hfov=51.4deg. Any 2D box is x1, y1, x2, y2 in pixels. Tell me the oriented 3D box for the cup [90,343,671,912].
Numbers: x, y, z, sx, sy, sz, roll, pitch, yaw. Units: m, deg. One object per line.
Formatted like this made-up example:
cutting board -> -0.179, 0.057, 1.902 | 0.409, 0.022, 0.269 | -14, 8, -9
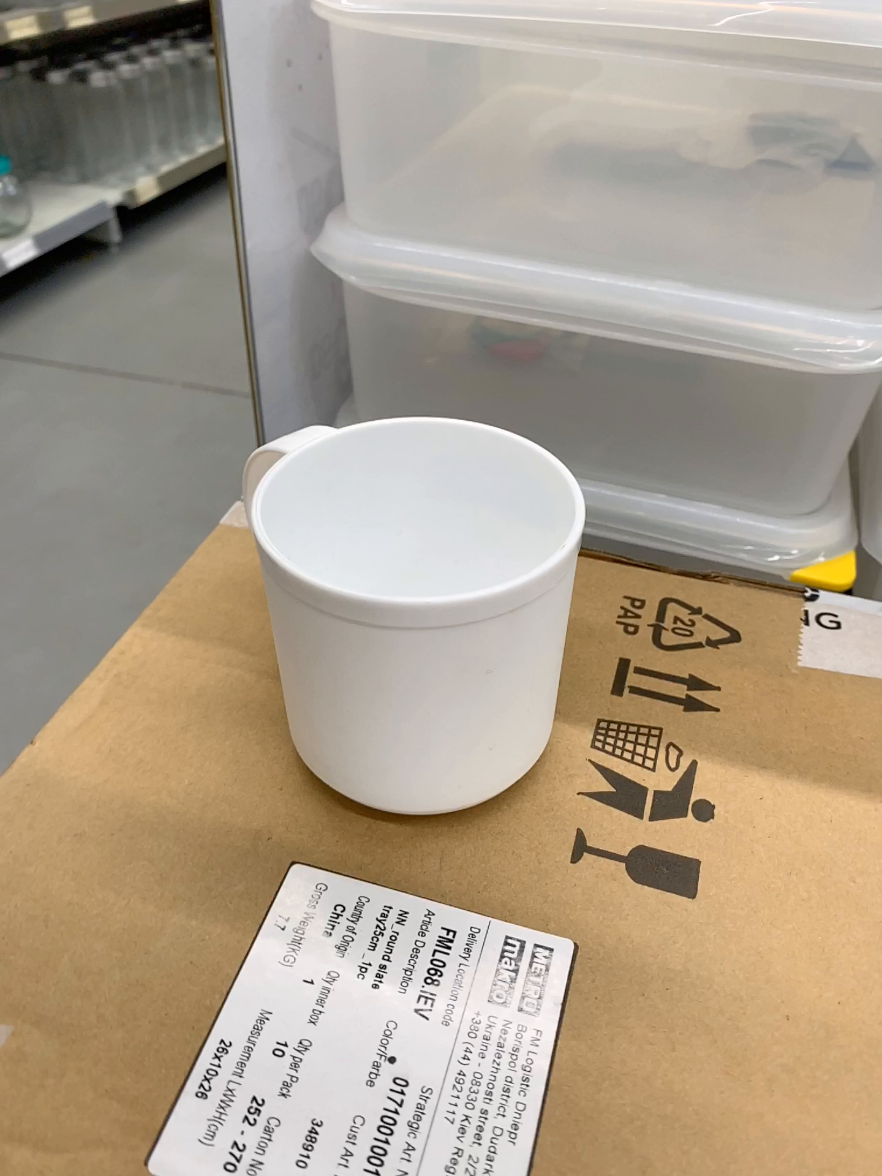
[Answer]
cup -> -0.017, 0.001, 0.237 | 0.113, 0.075, 0.080 | 32, 48, 33
